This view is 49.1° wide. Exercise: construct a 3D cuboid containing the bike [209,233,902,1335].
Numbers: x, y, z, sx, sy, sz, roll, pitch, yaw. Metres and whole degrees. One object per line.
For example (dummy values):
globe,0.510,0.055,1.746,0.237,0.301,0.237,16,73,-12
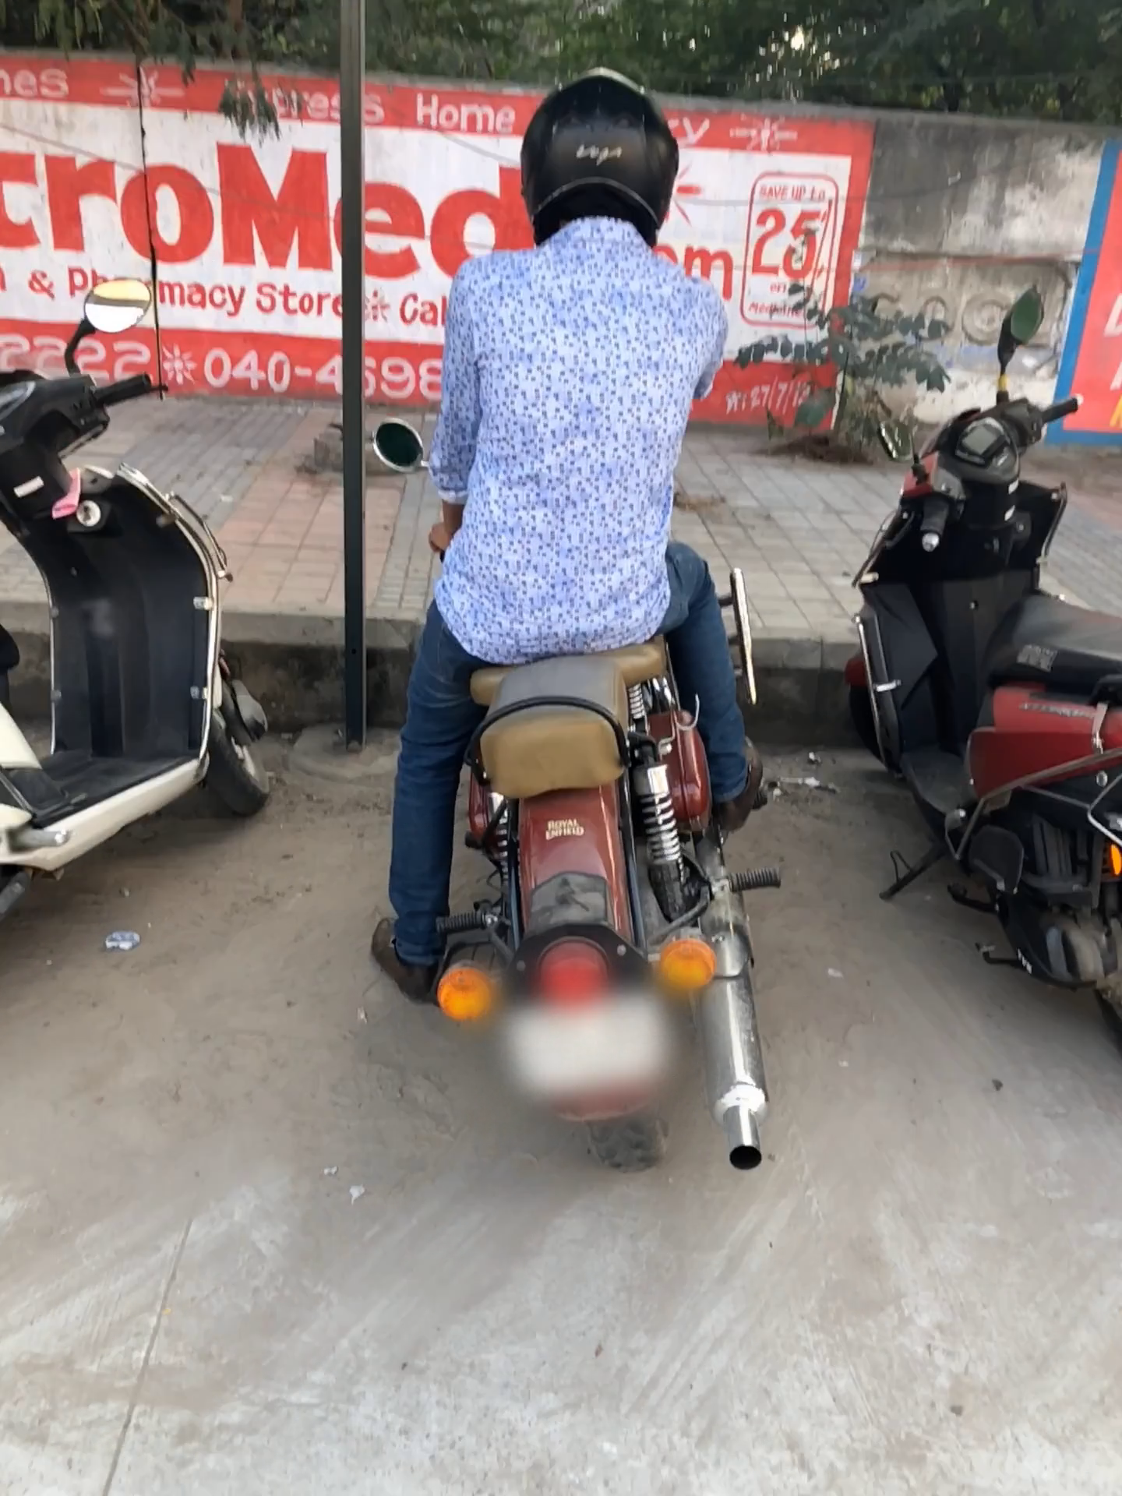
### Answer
bike,-0.054,-0.120,2.308,0.792,1.256,1.558,3,29,-2
